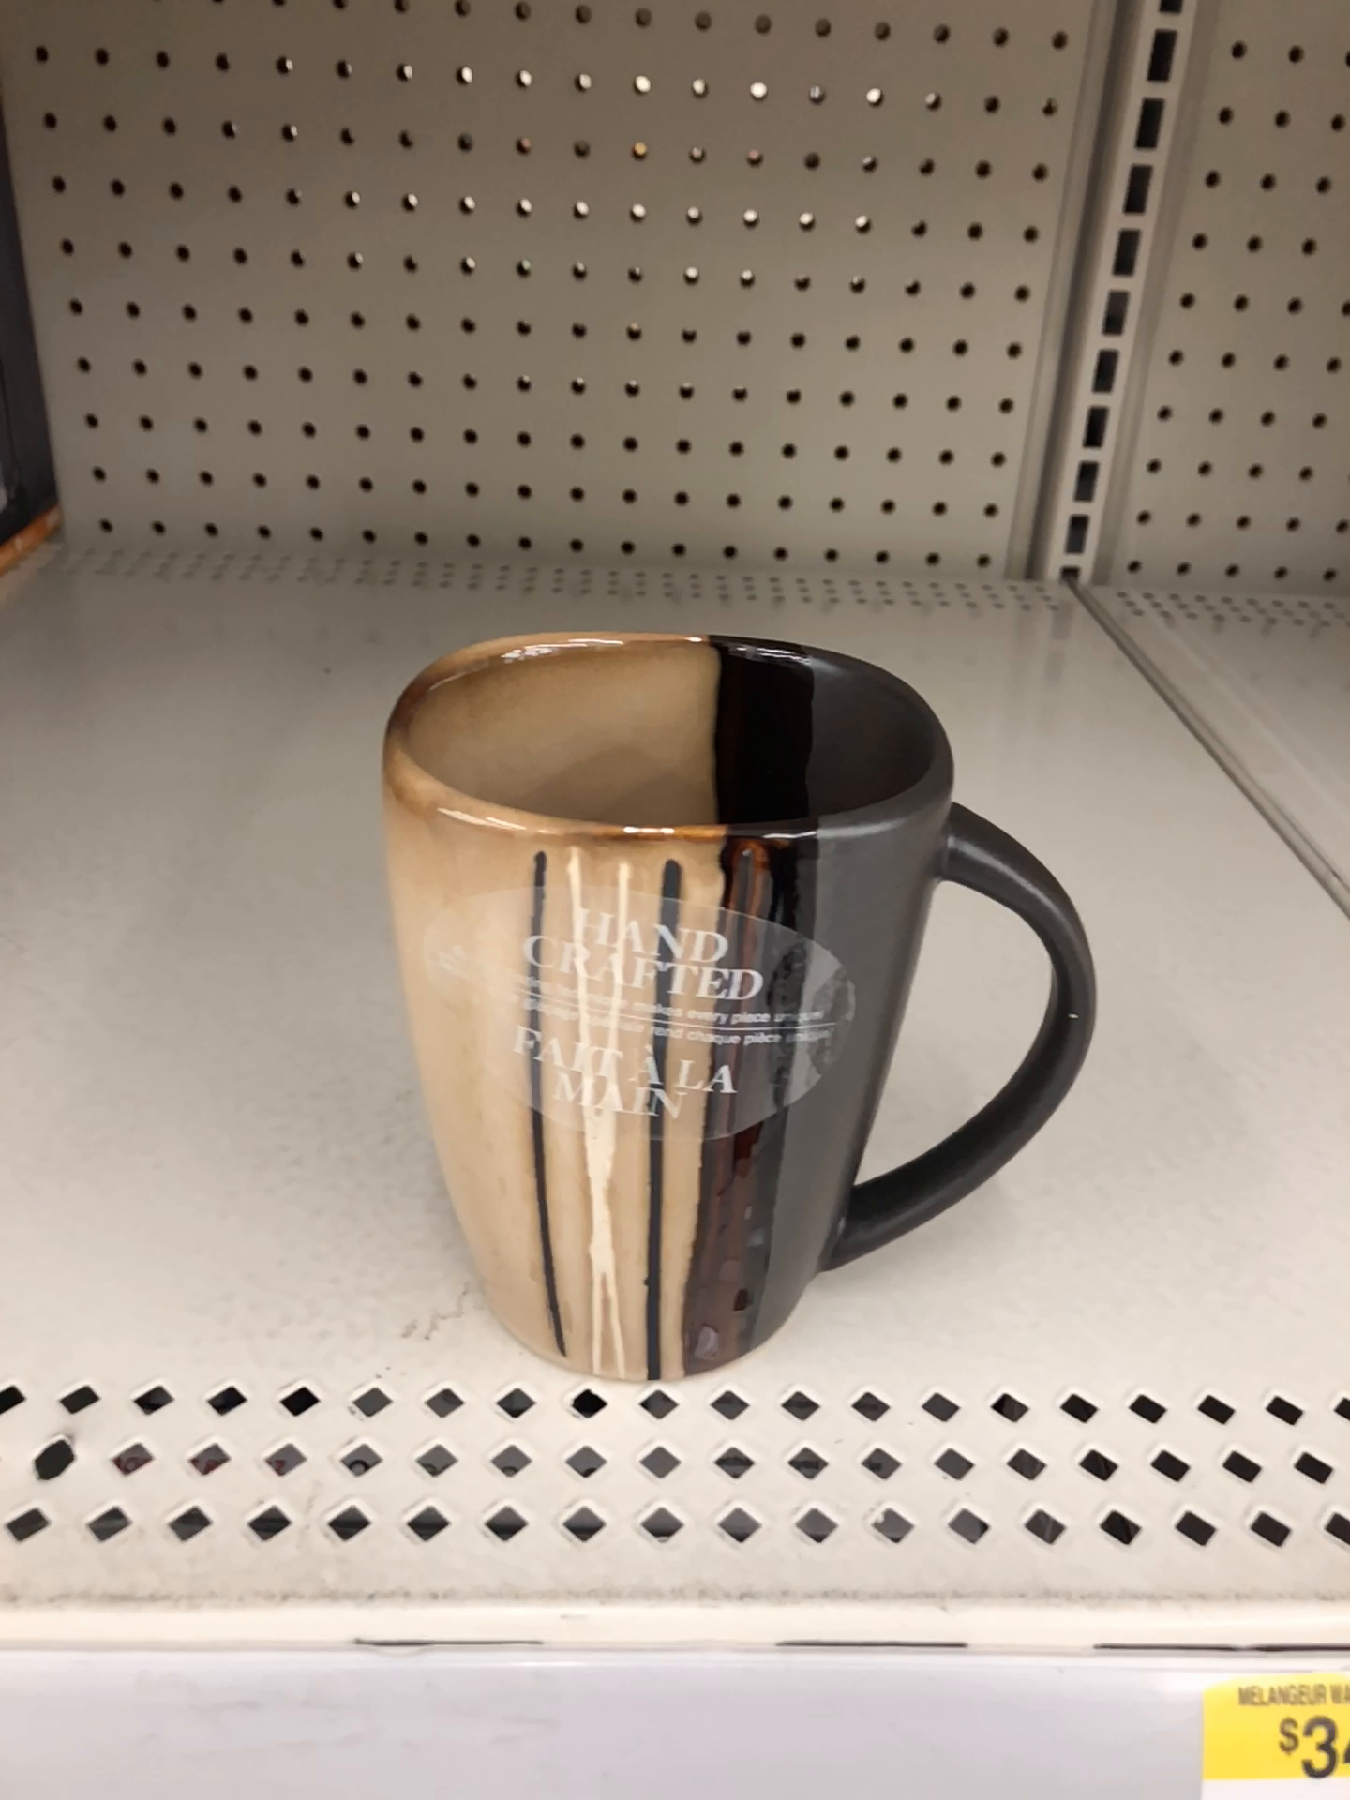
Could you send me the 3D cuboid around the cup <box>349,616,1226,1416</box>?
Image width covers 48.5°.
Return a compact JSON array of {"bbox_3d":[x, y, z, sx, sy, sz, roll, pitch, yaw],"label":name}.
[{"bbox_3d":[0.012,0.018,0.268,0.120,0.110,0.087,1,29,-4],"label":"cup"}]
